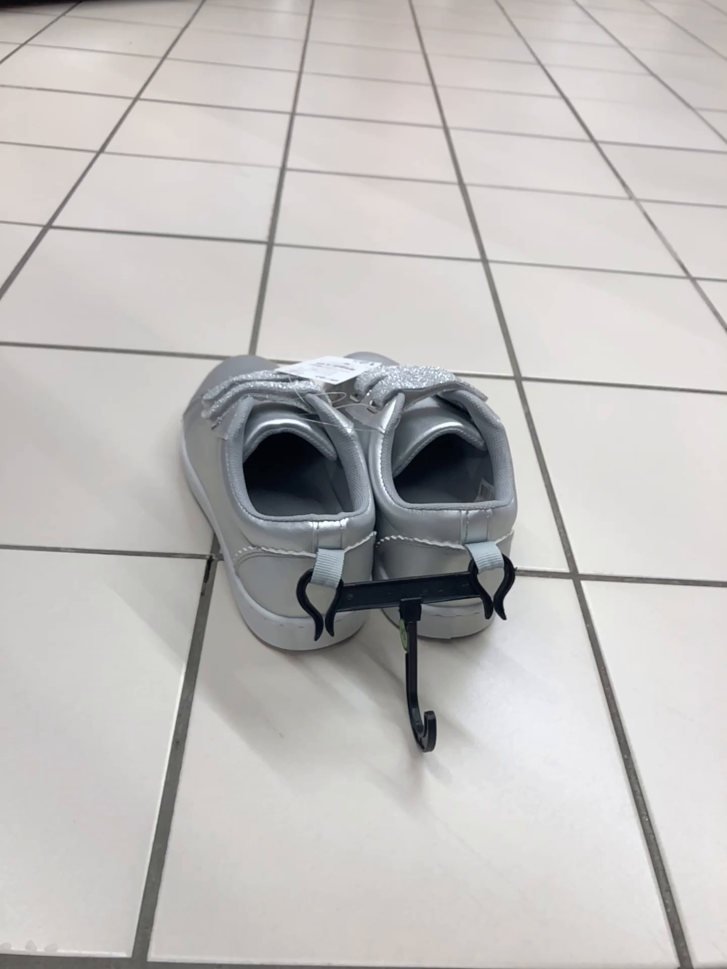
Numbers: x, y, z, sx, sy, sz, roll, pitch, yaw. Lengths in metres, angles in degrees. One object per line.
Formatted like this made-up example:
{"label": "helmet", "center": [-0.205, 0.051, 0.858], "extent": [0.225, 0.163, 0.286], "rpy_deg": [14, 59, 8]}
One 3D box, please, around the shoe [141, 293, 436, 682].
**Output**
{"label": "shoe", "center": [-0.054, -0.014, 0.444], "extent": [0.091, 0.085, 0.215], "rpy_deg": [-11, 43, -20]}

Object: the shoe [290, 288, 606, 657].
{"label": "shoe", "center": [0.031, -0.022, 0.462], "extent": [0.091, 0.085, 0.215], "rpy_deg": [-9, 42, -18]}
